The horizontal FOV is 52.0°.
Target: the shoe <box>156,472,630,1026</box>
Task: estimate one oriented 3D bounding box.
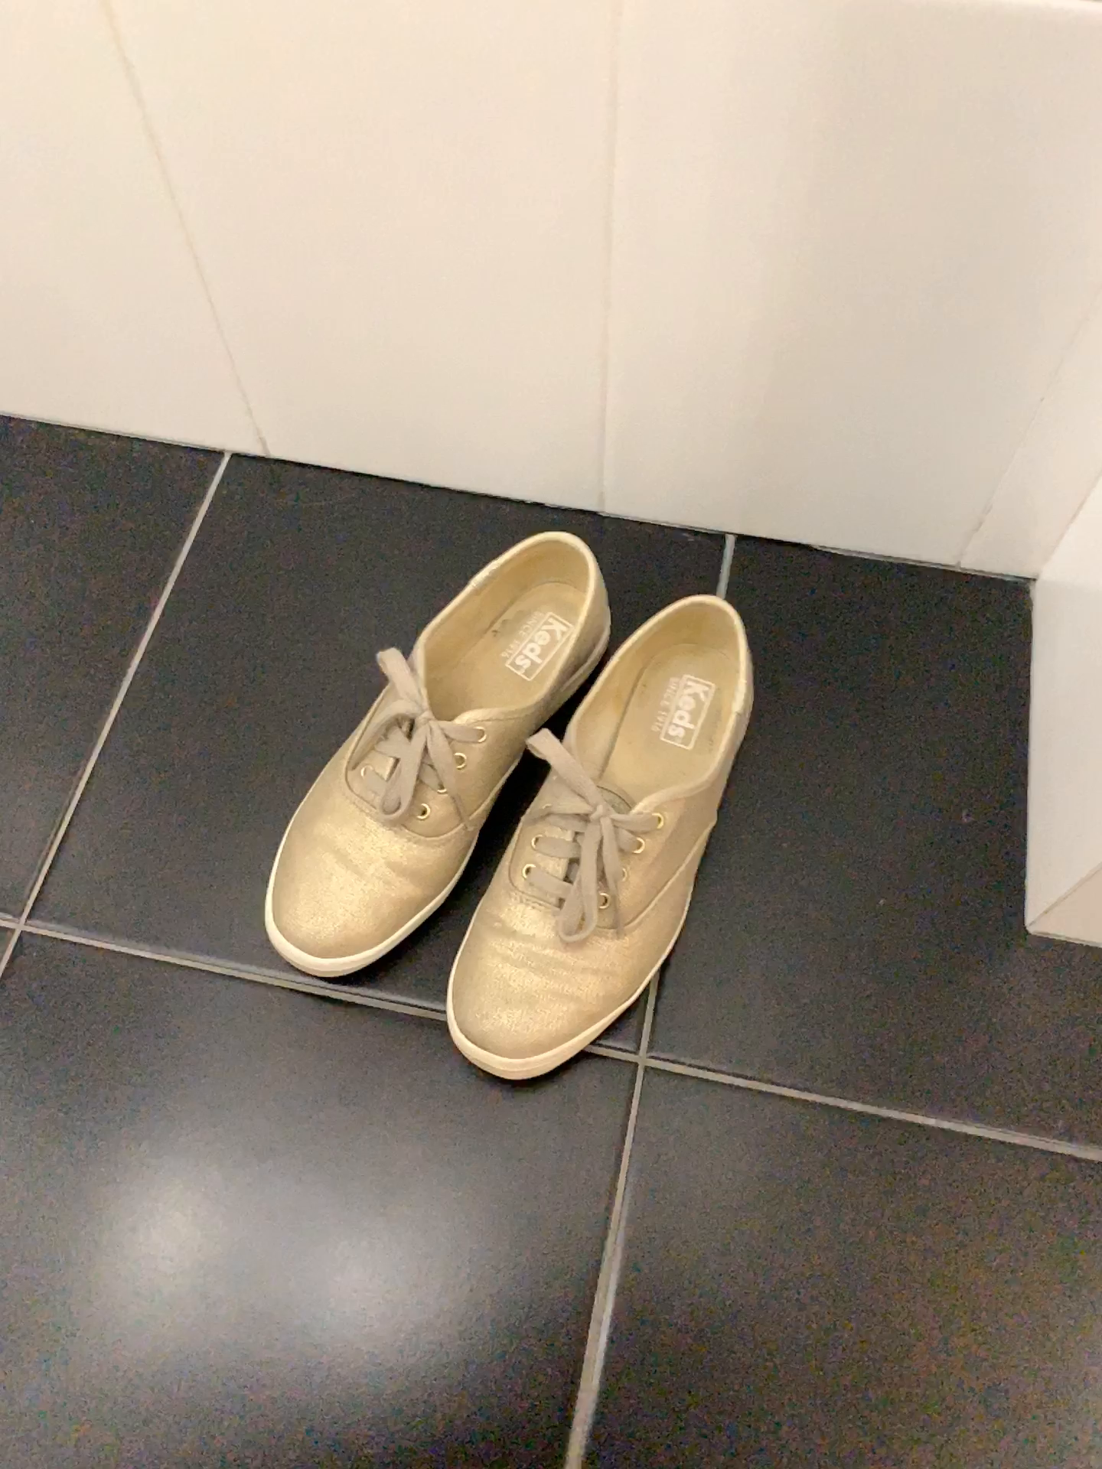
[{"bbox_3d":[-0.061,0.004,0.535,0.090,0.100,0.230,28,66,14],"label":"shoe"}]

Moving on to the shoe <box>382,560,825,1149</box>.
[{"bbox_3d":[0.029,0.051,0.512,0.090,0.100,0.230,25,65,13],"label":"shoe"}]
